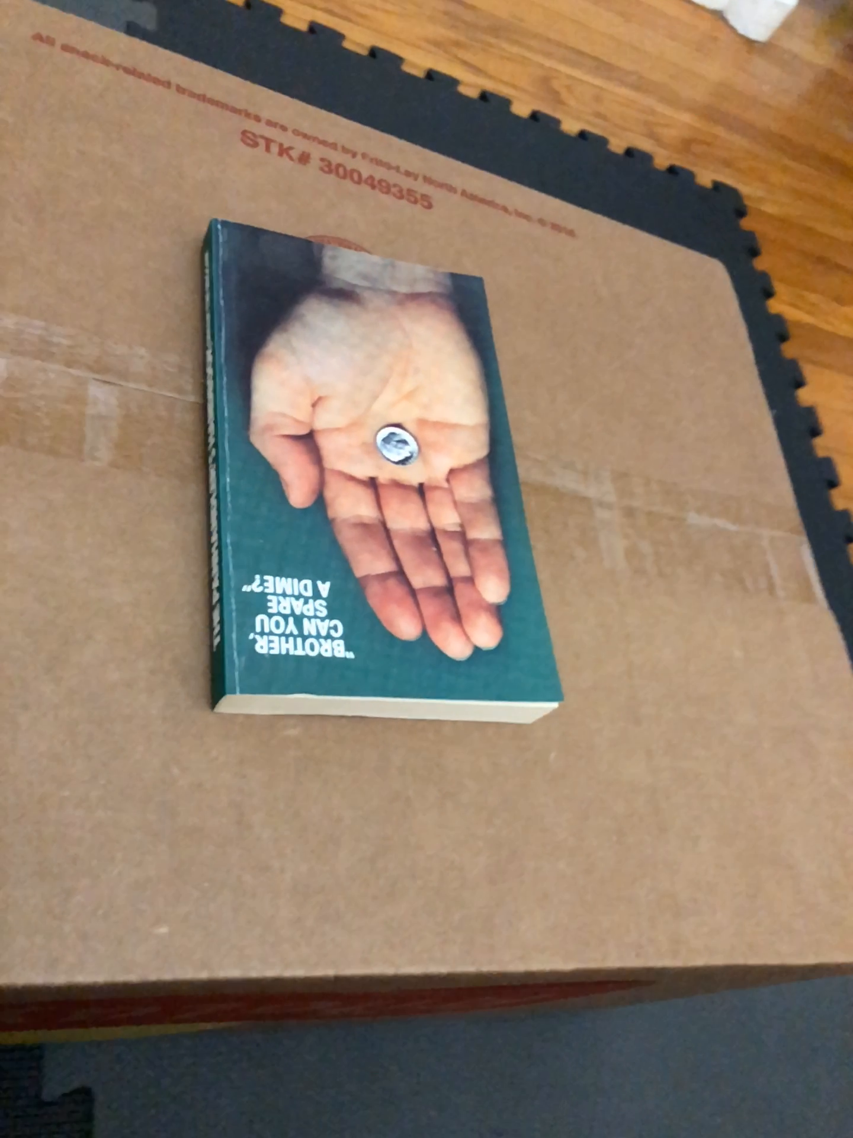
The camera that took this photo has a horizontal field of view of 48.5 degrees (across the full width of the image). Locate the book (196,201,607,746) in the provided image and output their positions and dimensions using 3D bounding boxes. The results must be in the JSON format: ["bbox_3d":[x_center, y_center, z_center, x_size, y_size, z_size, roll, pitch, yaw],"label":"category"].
[{"bbox_3d":[-0.013,-0.033,0.313,0.120,0.020,0.180,6,61,-26],"label":"book"}]
